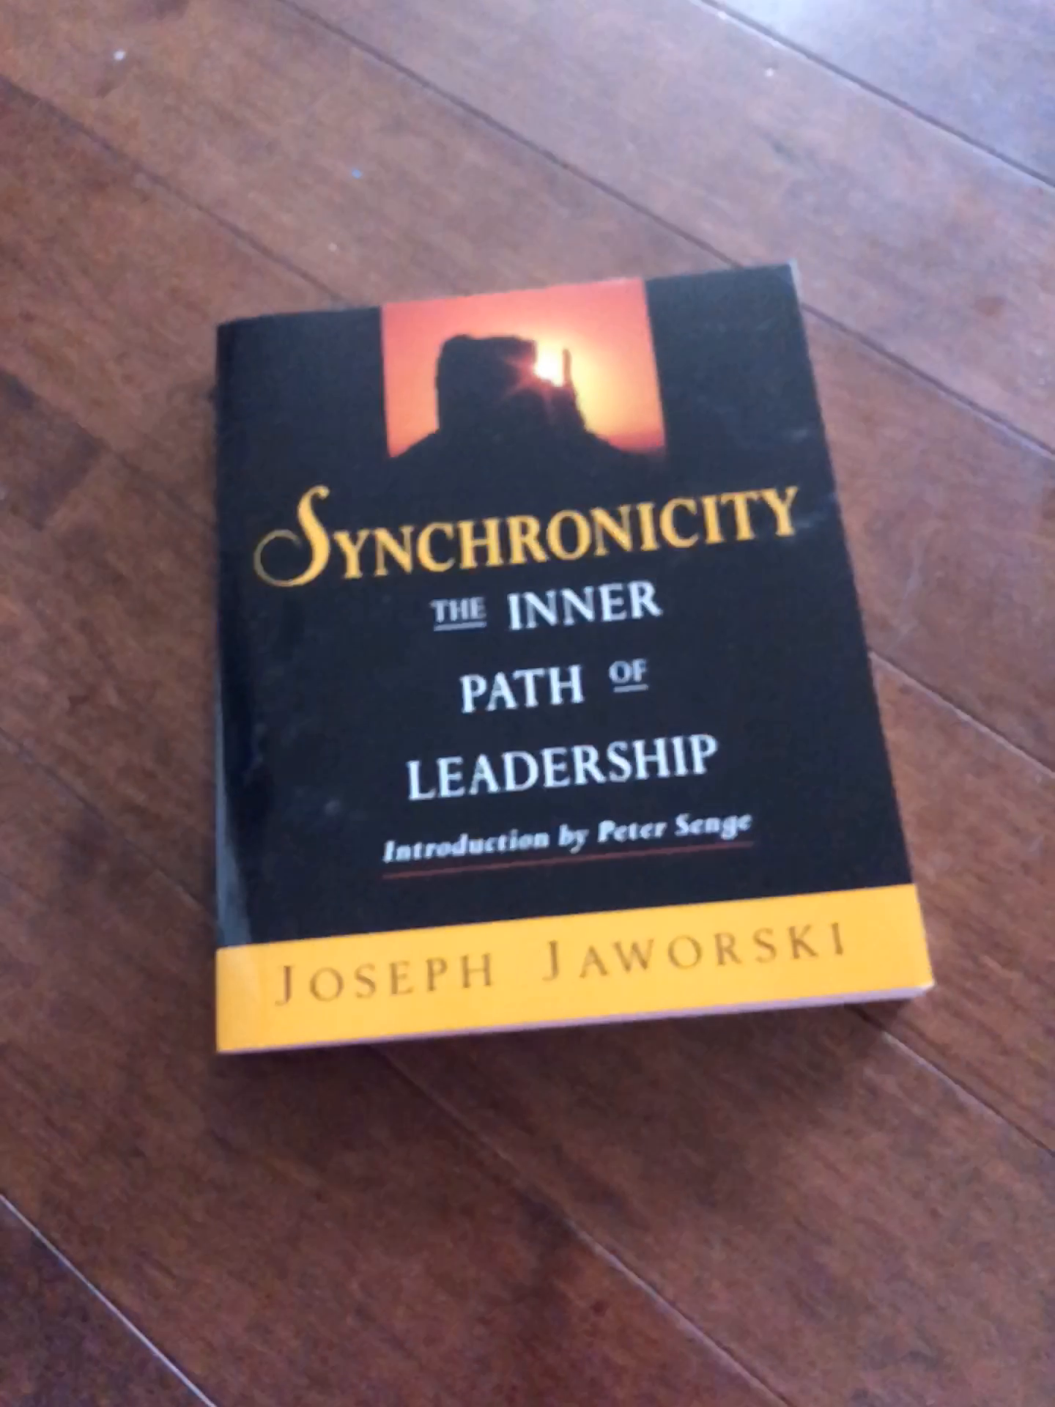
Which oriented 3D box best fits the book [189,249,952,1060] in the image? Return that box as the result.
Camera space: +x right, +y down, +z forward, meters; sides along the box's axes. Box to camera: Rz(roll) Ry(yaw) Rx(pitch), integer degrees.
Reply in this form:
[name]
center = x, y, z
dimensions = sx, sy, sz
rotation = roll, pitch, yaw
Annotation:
[book]
center = 0.002, -0.021, 0.345
dimensions = 0.190, 0.030, 0.223
rotation = -6, 71, 1
